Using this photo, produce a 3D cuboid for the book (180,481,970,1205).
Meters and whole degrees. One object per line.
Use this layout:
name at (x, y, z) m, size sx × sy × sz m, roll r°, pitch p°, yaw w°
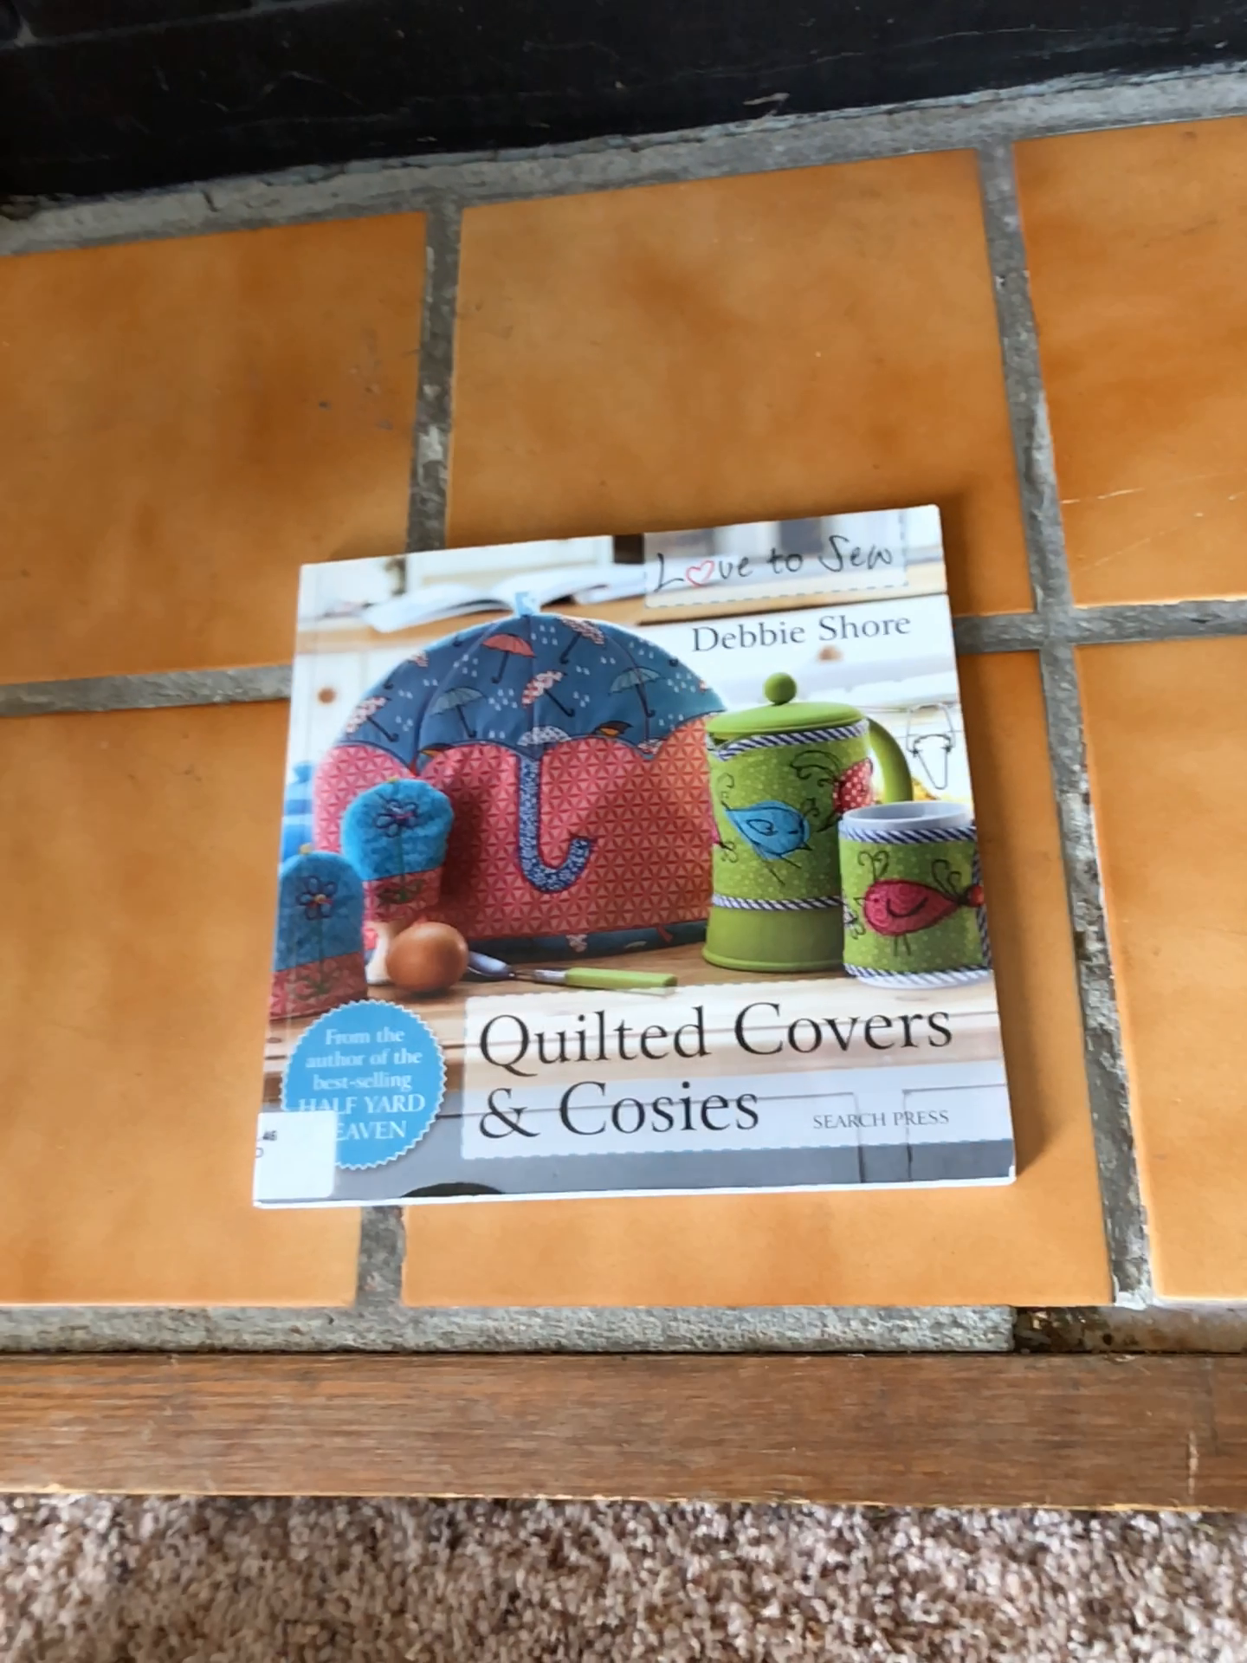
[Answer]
book at (-0.019, -0.001, 0.433) m, size 0.224 × 0.015 × 0.219 m, roll -4°, pitch 69°, yaw 7°
